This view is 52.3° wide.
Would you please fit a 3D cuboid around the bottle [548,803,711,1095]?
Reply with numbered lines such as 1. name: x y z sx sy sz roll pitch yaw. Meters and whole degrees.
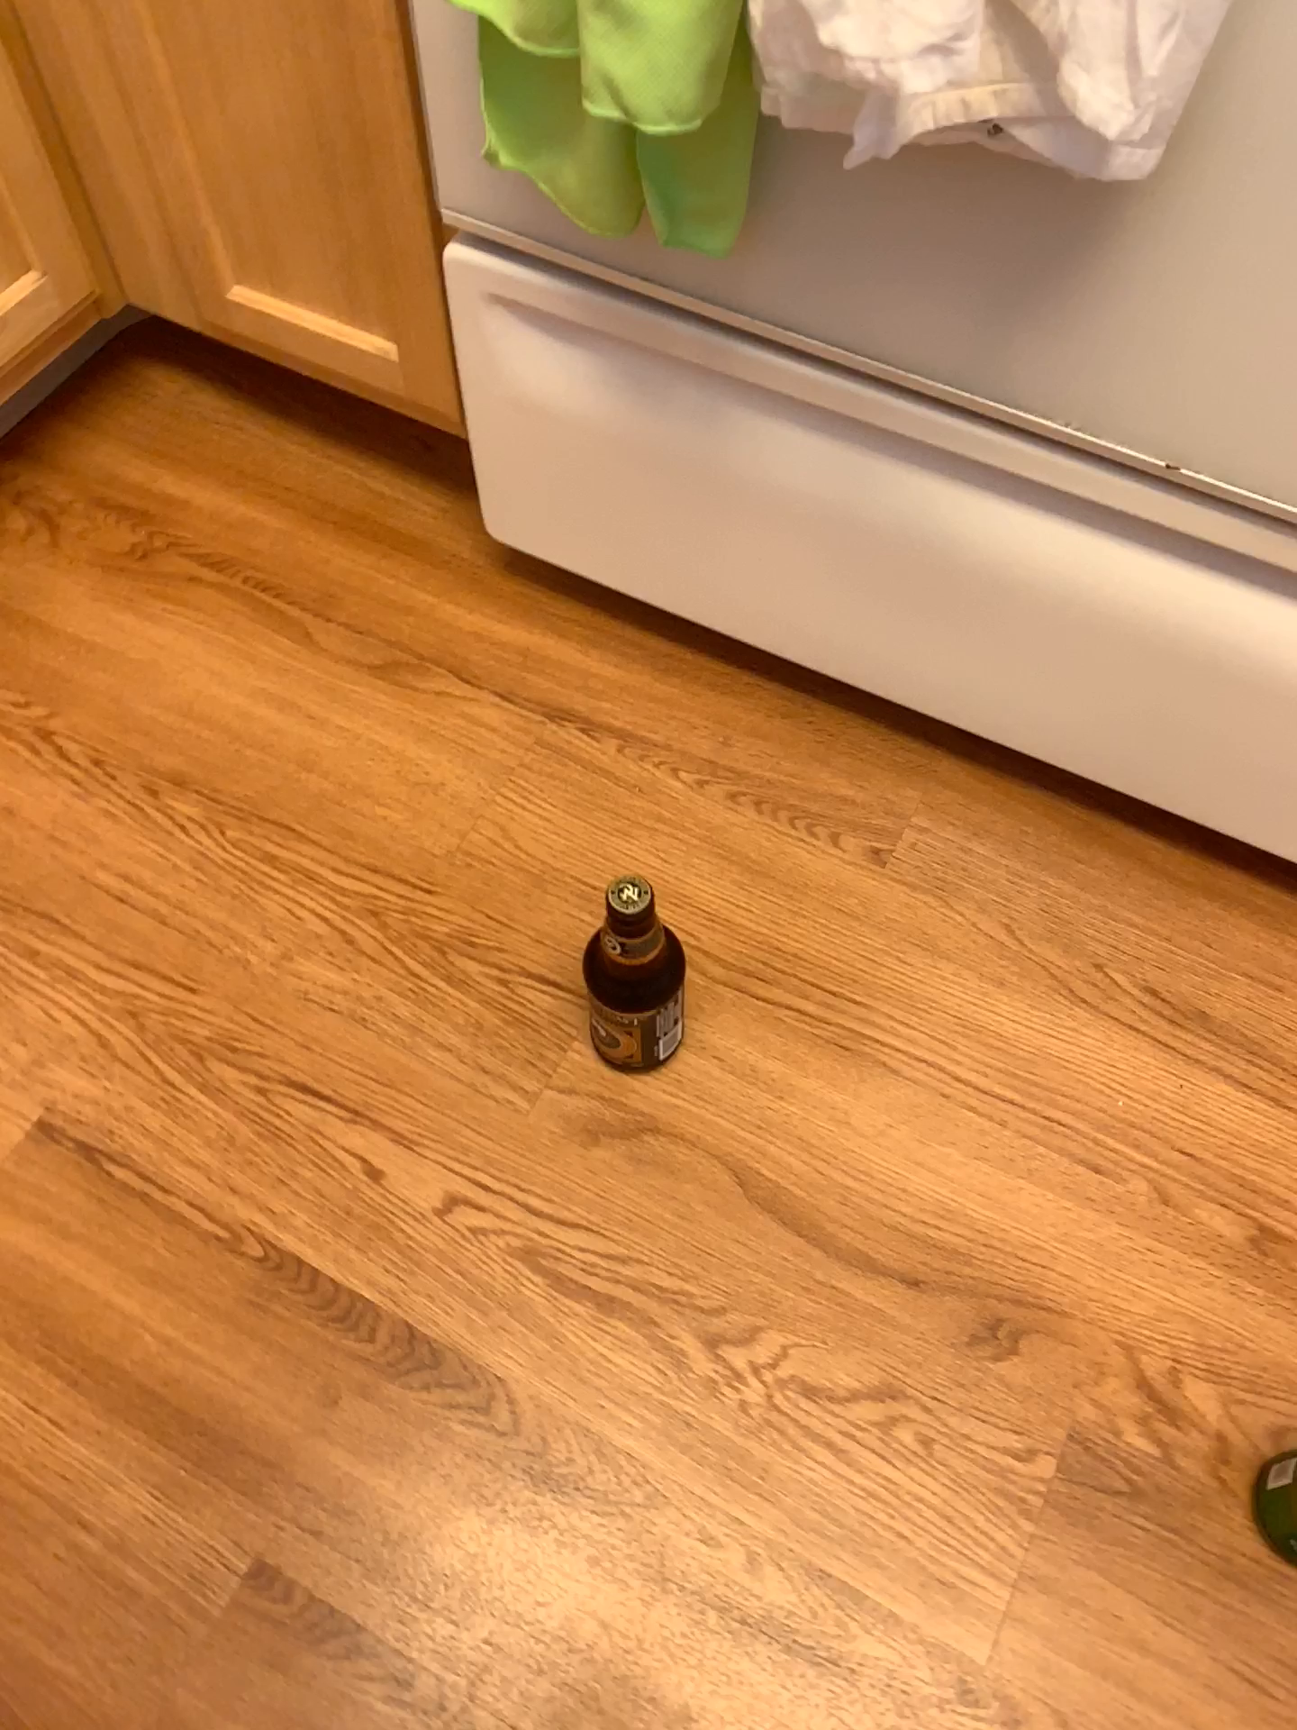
1. bottle: -0.010 0.057 0.776 0.060 0.209 0.060 0 59 0
